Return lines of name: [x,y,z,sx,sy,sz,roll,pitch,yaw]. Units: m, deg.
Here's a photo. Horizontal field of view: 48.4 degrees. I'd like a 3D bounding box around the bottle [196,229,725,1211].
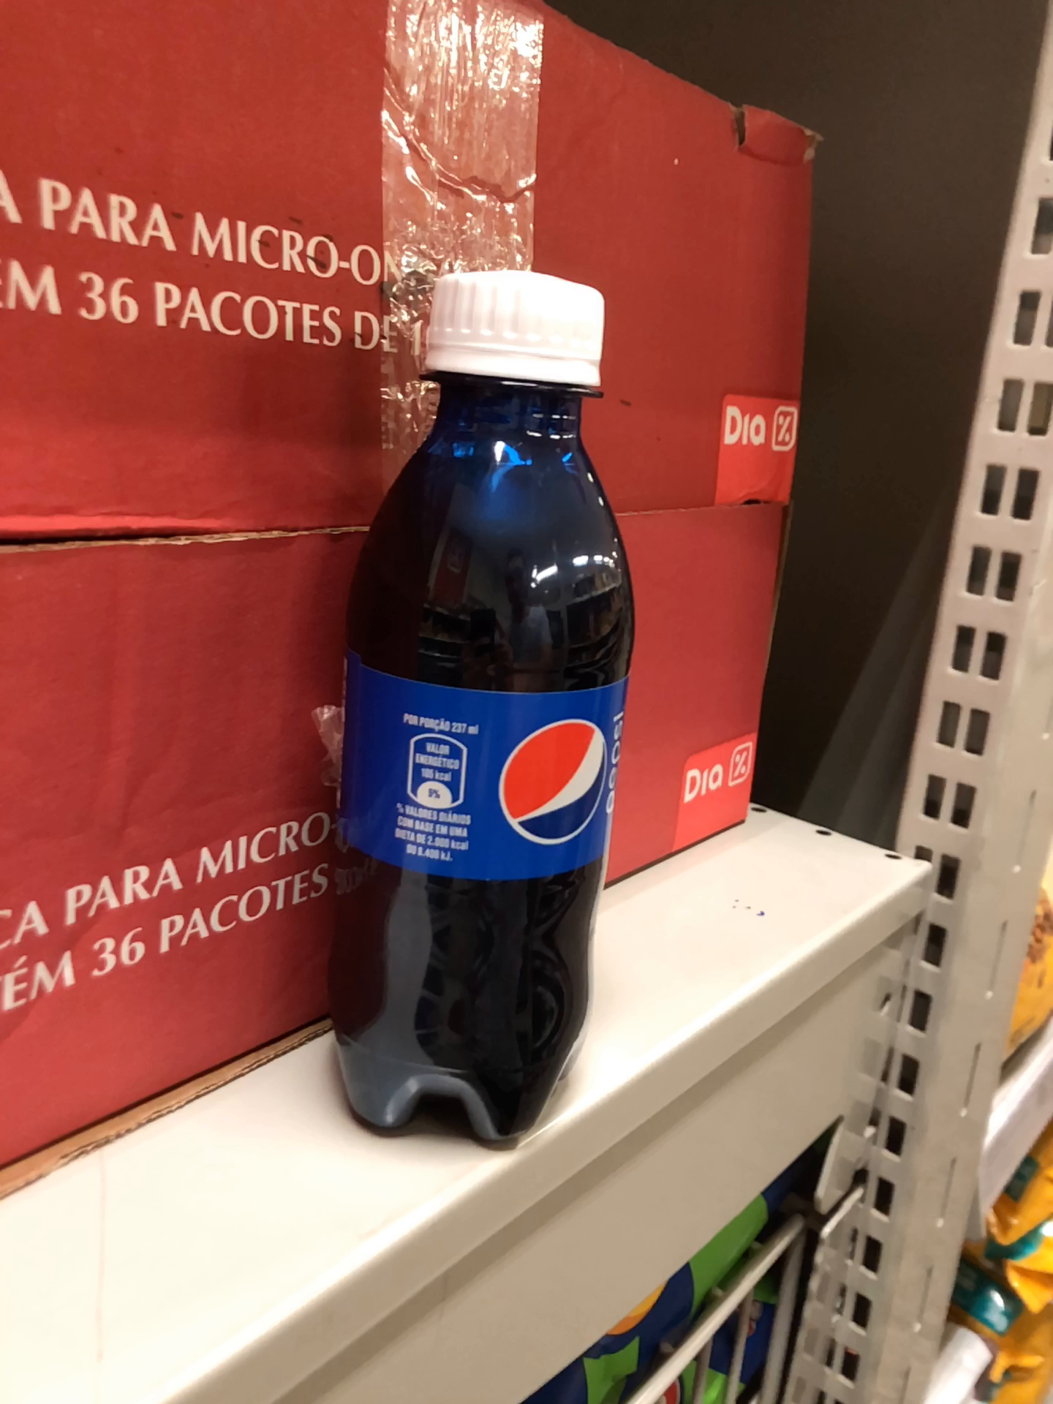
bottle: [-0.012,-0.002,0.209,0.060,0.149,0.060,3,17,-1]
